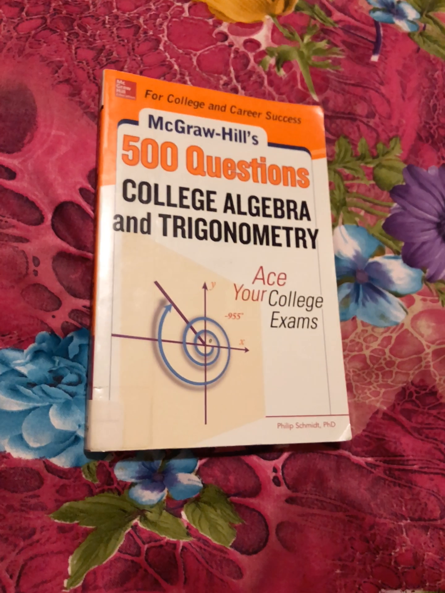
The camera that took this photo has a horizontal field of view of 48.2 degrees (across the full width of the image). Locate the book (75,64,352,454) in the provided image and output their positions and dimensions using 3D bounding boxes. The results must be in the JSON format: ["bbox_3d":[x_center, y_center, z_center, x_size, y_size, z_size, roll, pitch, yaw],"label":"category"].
[{"bbox_3d":[-0.003,-0.024,0.304,0.156,0.022,0.220,3,76,-19],"label":"book"}]
